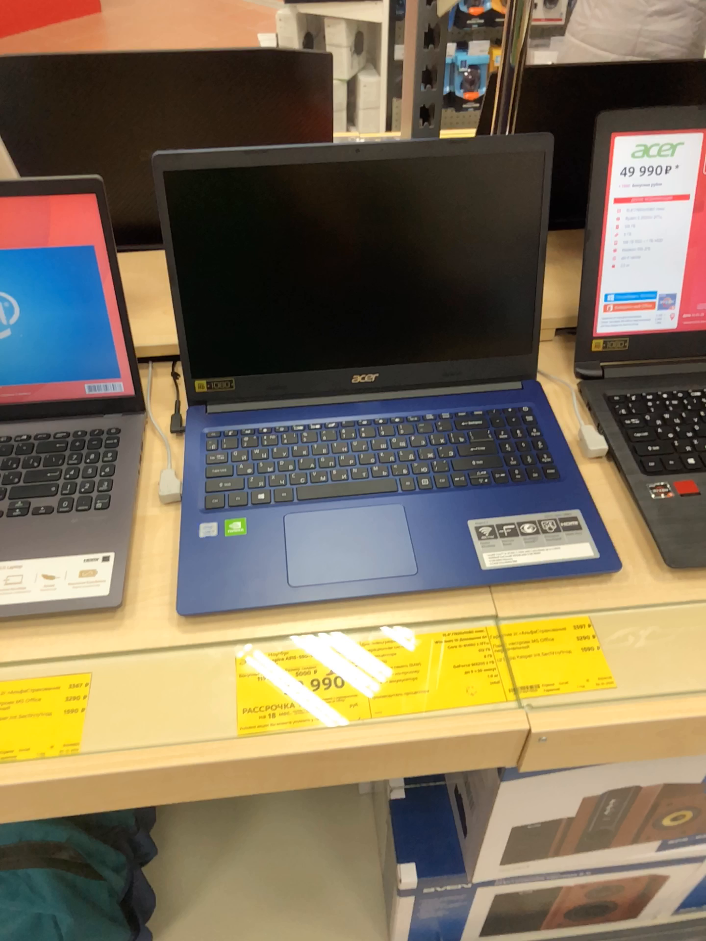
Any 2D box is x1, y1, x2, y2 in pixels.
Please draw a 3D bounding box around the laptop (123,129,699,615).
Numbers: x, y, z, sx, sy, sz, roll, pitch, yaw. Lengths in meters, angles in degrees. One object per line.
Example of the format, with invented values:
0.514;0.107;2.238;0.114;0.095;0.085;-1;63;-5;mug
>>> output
0.020;-0.100;0.663;0.357;0.221;0.328;-5;46;-5;laptop
